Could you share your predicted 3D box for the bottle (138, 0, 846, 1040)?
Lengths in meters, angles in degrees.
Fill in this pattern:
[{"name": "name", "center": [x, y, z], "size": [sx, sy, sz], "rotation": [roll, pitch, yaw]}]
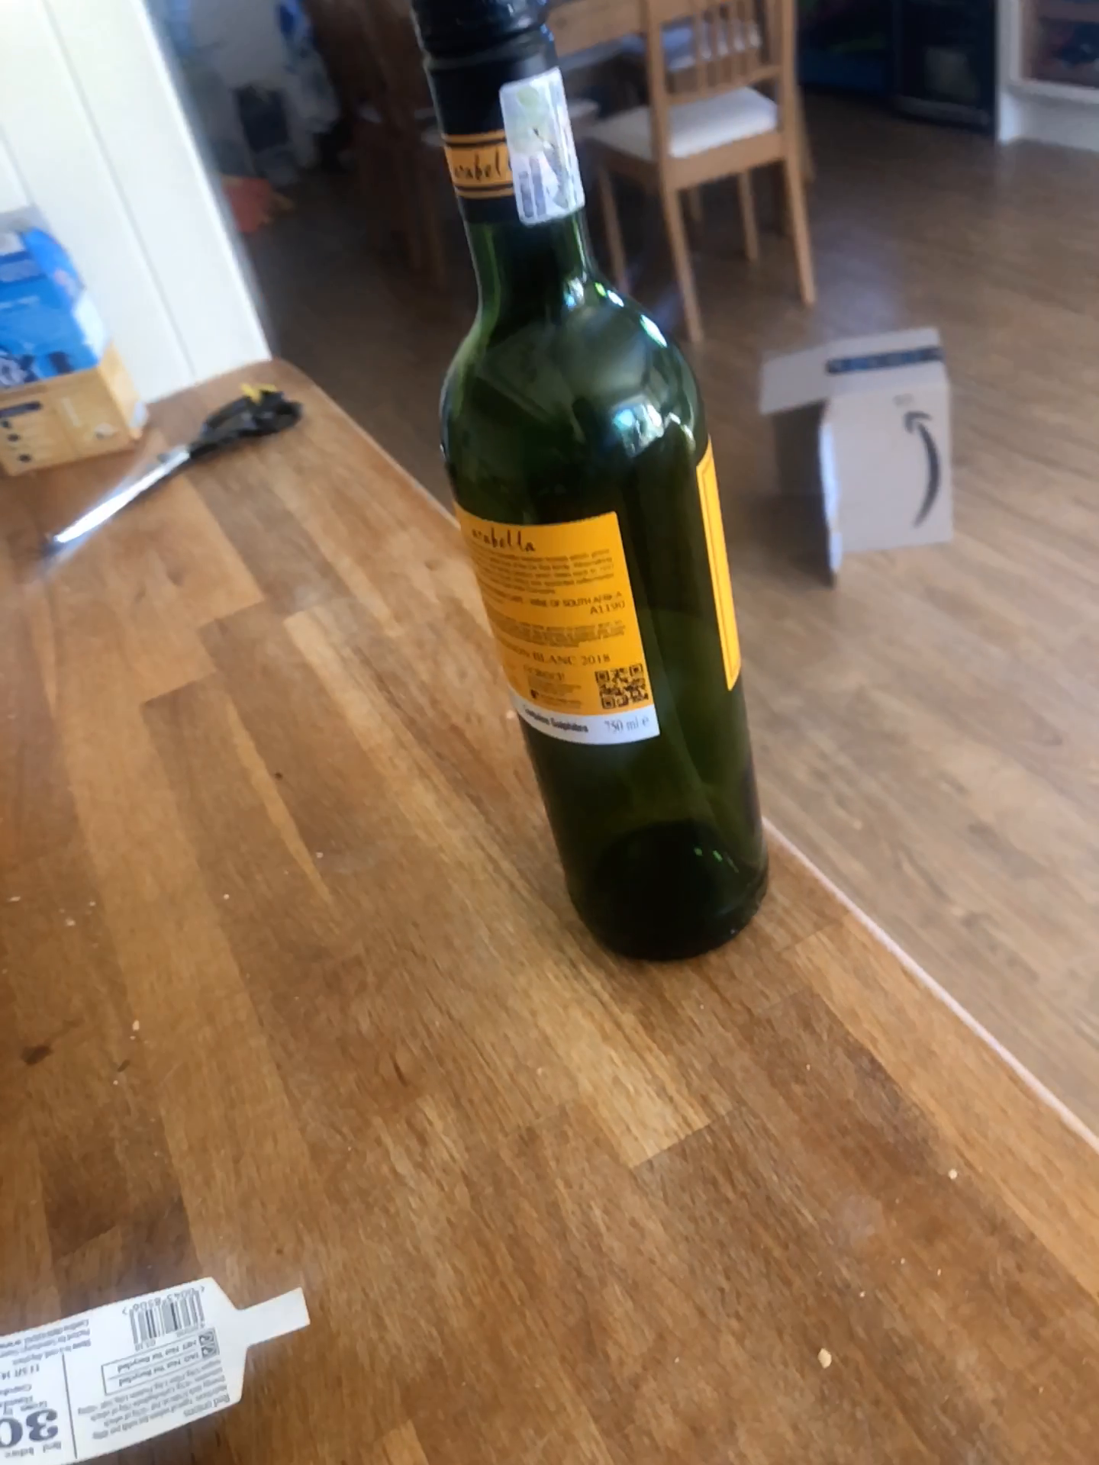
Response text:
[{"name": "bottle", "center": [0.007, -0.062, 0.330], "size": [0.090, 0.298, 0.090], "rotation": [-9, 38, 7]}]
